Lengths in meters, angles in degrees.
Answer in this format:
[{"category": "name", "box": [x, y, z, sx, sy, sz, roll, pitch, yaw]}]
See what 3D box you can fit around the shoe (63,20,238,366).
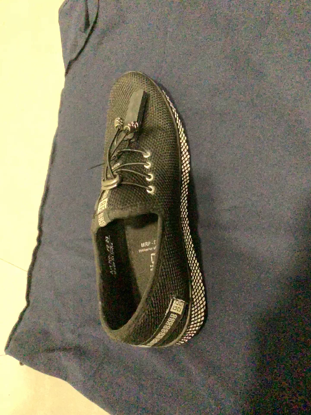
[{"category": "shoe", "box": [-0.011, -0.012, 0.321, 0.101, 0.090, 0.290, -17, 76, 34]}]
